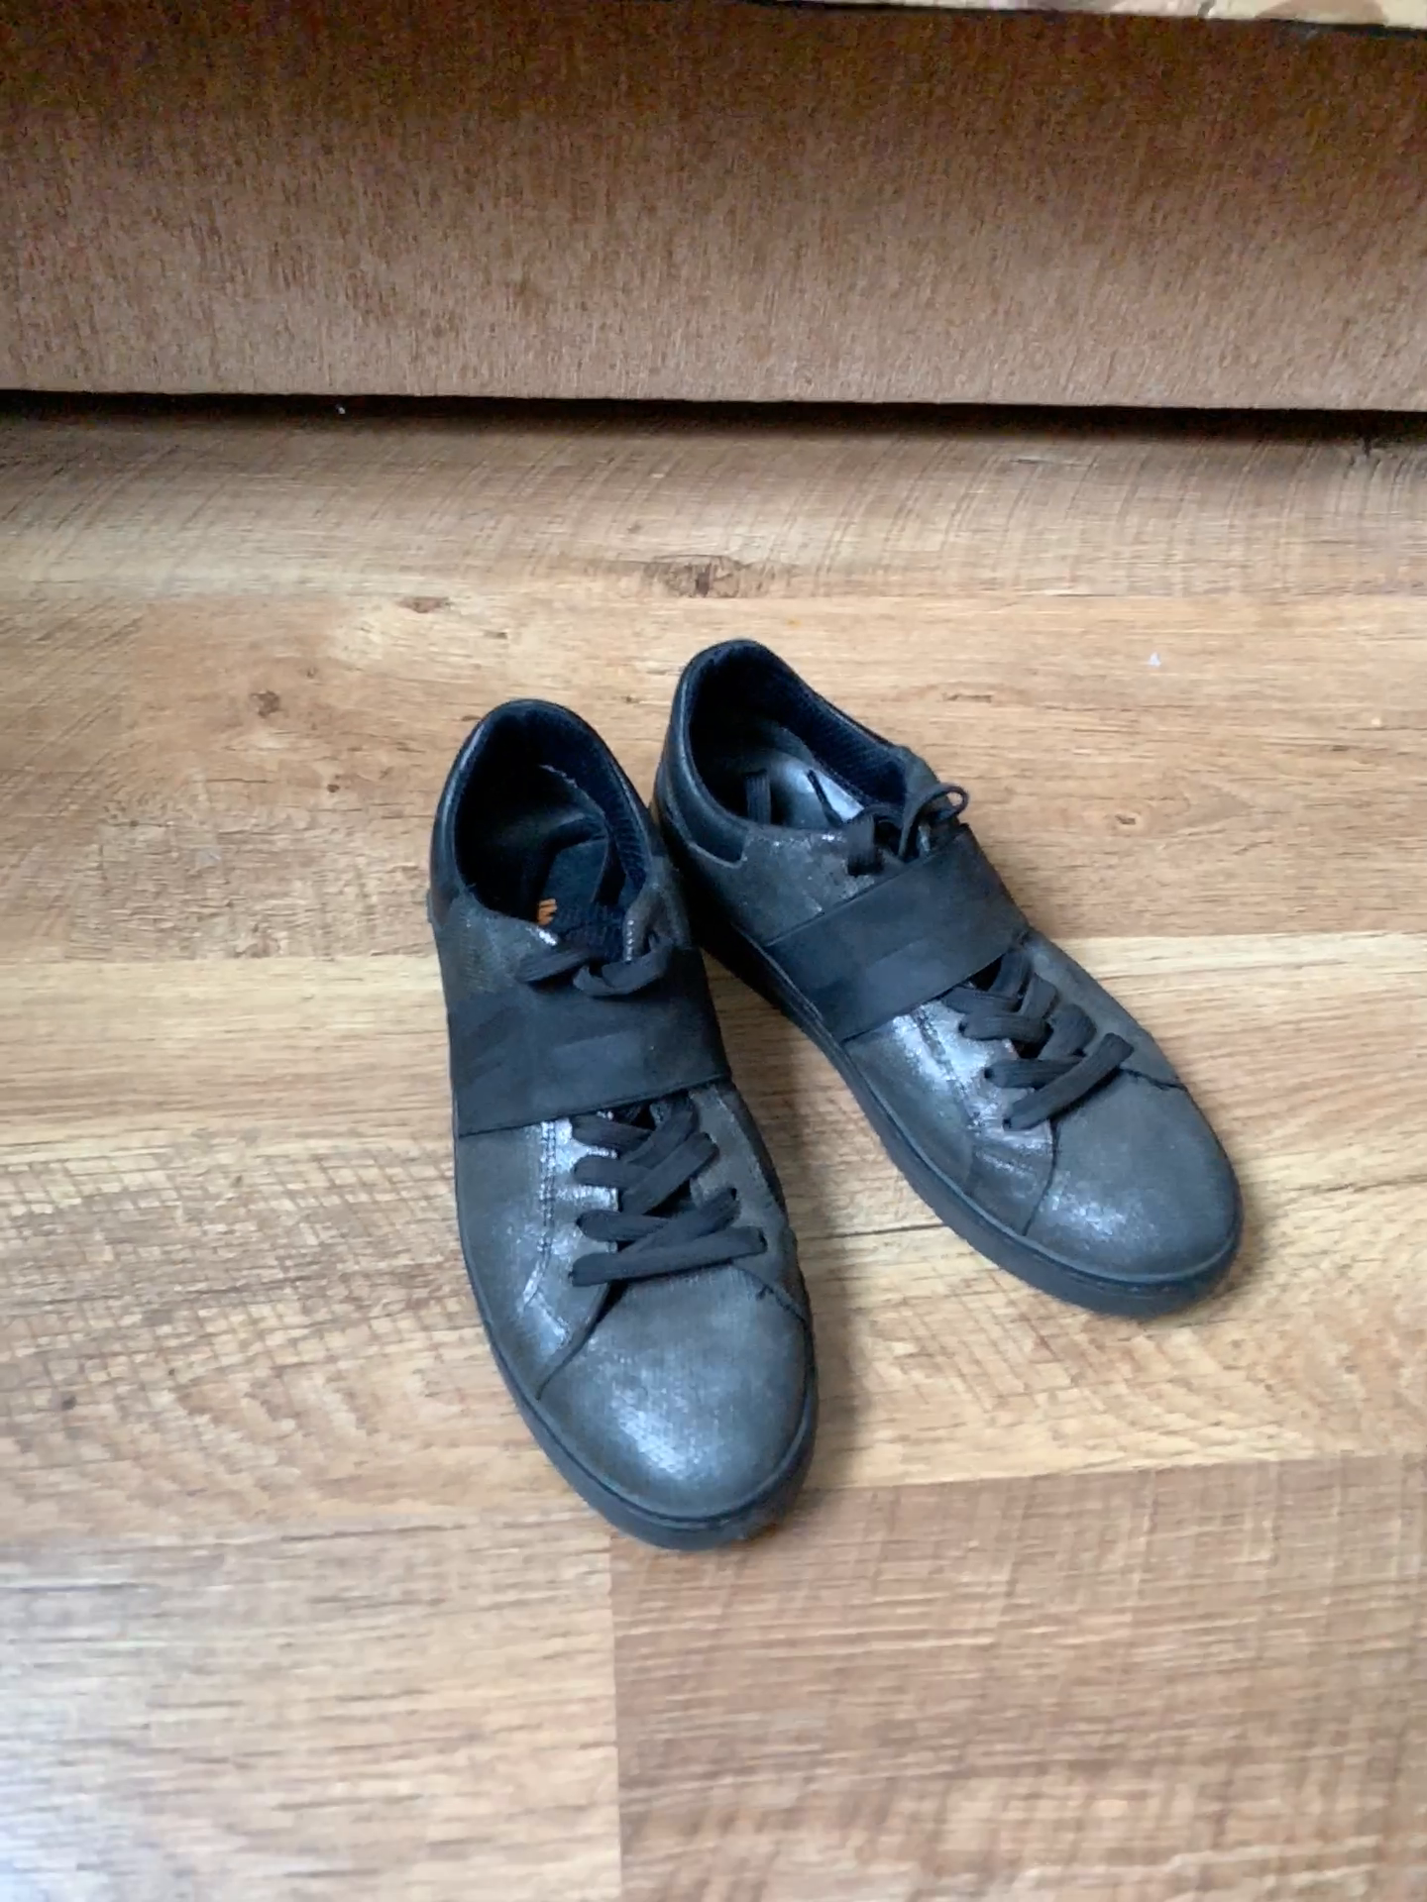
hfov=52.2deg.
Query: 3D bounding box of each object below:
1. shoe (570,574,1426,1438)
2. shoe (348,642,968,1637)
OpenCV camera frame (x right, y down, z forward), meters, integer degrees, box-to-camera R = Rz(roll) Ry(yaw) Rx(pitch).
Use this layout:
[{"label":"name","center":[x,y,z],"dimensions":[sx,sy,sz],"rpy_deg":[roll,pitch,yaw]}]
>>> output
[{"label":"shoe","center":[0.073,0.005,0.458],"dimensions":[0.100,0.090,0.261],"rpy_deg":[-32,61,-25]},{"label":"shoe","center":[-0.031,0.038,0.421],"dimensions":[0.100,0.090,0.261],"rpy_deg":[-11,55,-12]}]
